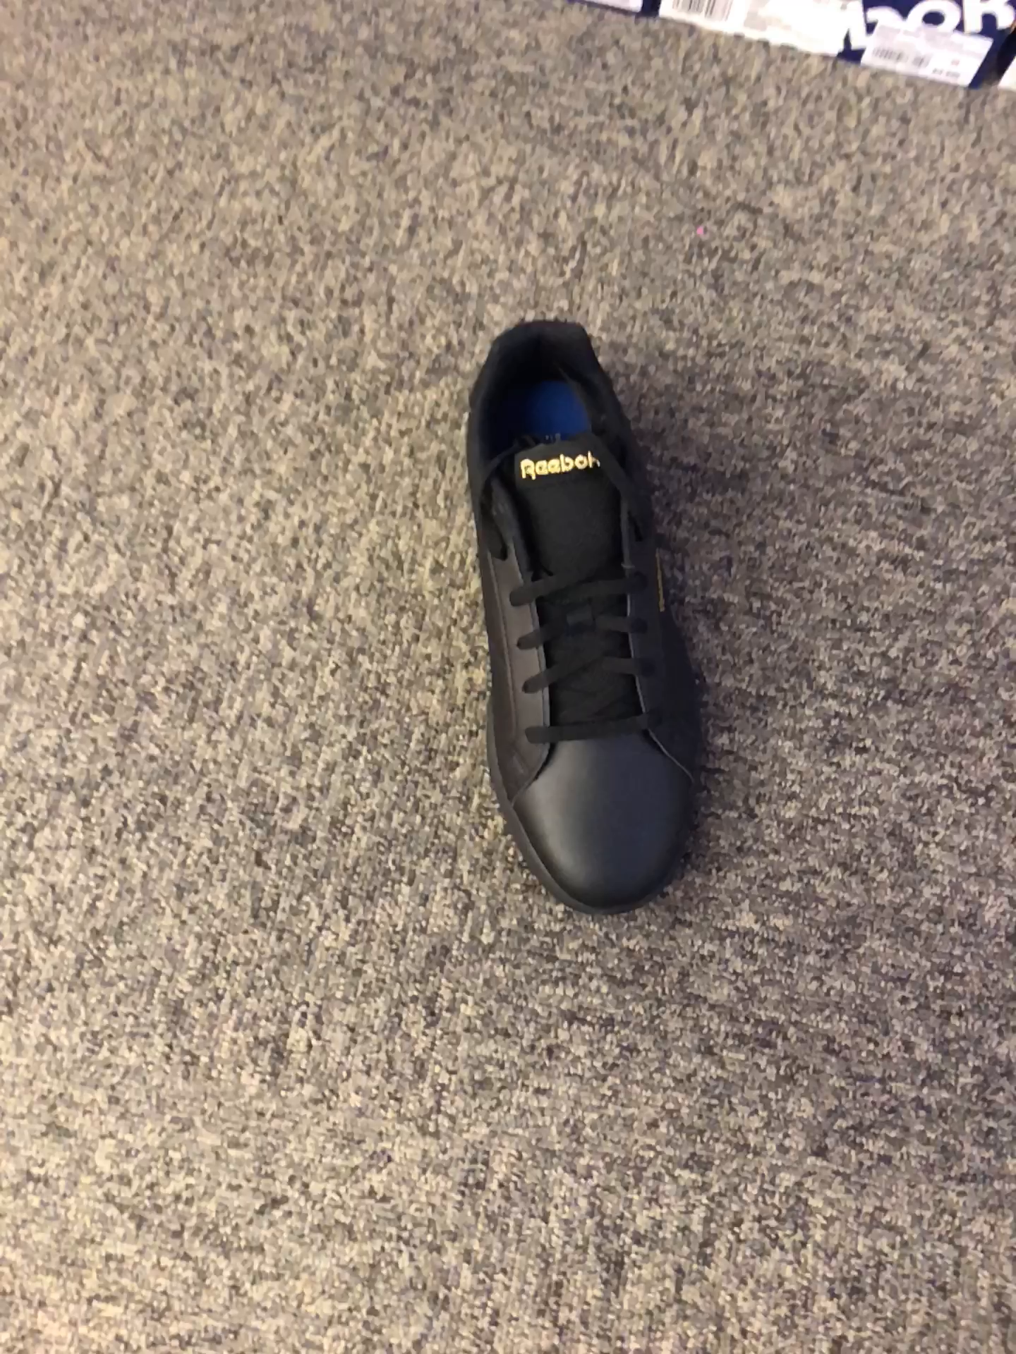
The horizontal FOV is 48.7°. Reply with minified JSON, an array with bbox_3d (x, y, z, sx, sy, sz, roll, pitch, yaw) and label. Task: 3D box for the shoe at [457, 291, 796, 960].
[{"bbox_3d":[0.039,-0.019,0.474,0.098,0.090,0.260,-5,76,-5],"label":"shoe"}]
